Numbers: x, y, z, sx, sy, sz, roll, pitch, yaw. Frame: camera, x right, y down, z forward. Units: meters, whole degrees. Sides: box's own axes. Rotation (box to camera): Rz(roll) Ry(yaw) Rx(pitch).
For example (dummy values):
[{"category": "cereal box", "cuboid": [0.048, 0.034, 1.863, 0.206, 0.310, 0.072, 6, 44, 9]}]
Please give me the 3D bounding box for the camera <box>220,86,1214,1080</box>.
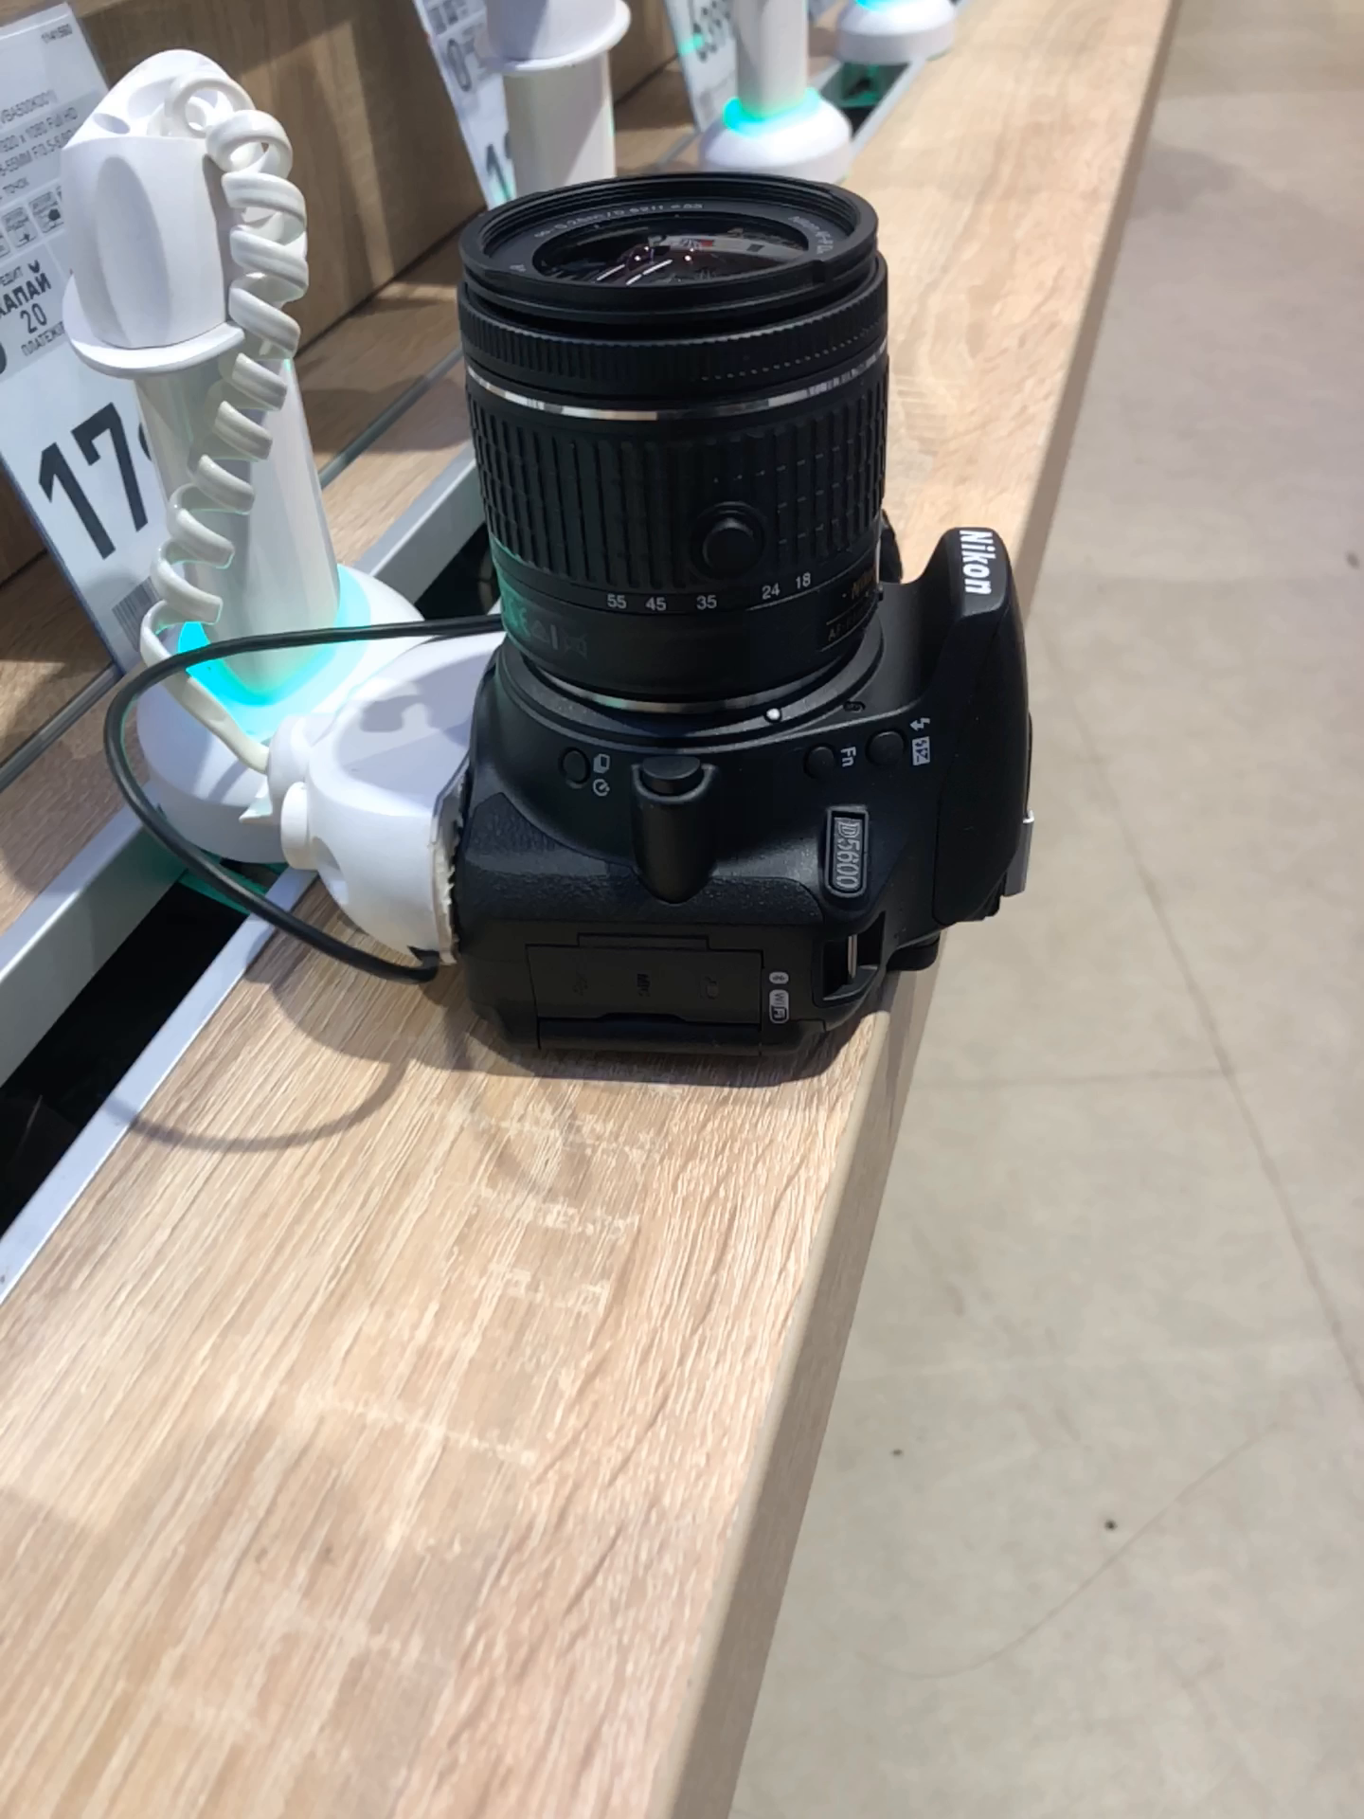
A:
[{"category": "camera", "cuboid": [0.008, -0.060, 0.263, 0.115, 0.117, 0.133, 0, 41, 4]}]
